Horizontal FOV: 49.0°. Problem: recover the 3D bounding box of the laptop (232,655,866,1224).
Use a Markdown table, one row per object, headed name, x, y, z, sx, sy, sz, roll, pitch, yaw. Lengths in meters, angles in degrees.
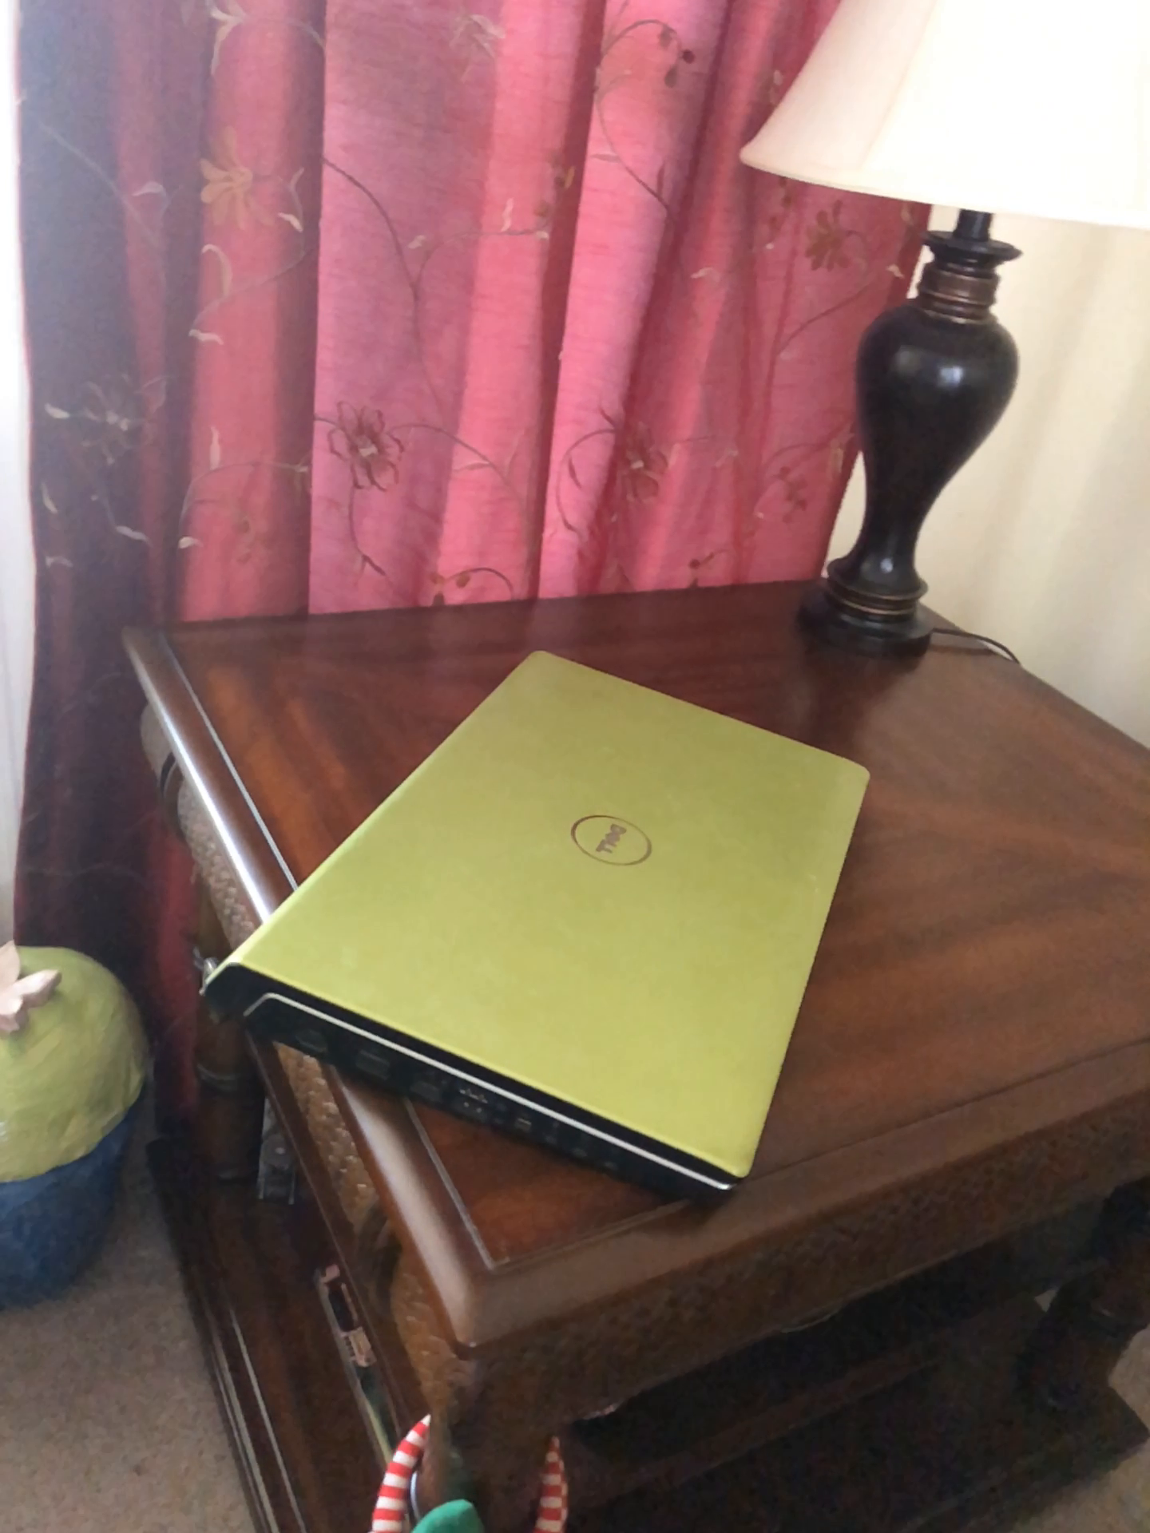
| name | x | y | z | sx | sy | sz | roll | pitch | yaw |
| --- | --- | --- | --- | --- | --- | --- | --- | --- | --- |
| laptop | 0.019 | 0.056 | 0.699 | 0.236 | 0.020 | 0.380 | 21 | 32 | 10 |
